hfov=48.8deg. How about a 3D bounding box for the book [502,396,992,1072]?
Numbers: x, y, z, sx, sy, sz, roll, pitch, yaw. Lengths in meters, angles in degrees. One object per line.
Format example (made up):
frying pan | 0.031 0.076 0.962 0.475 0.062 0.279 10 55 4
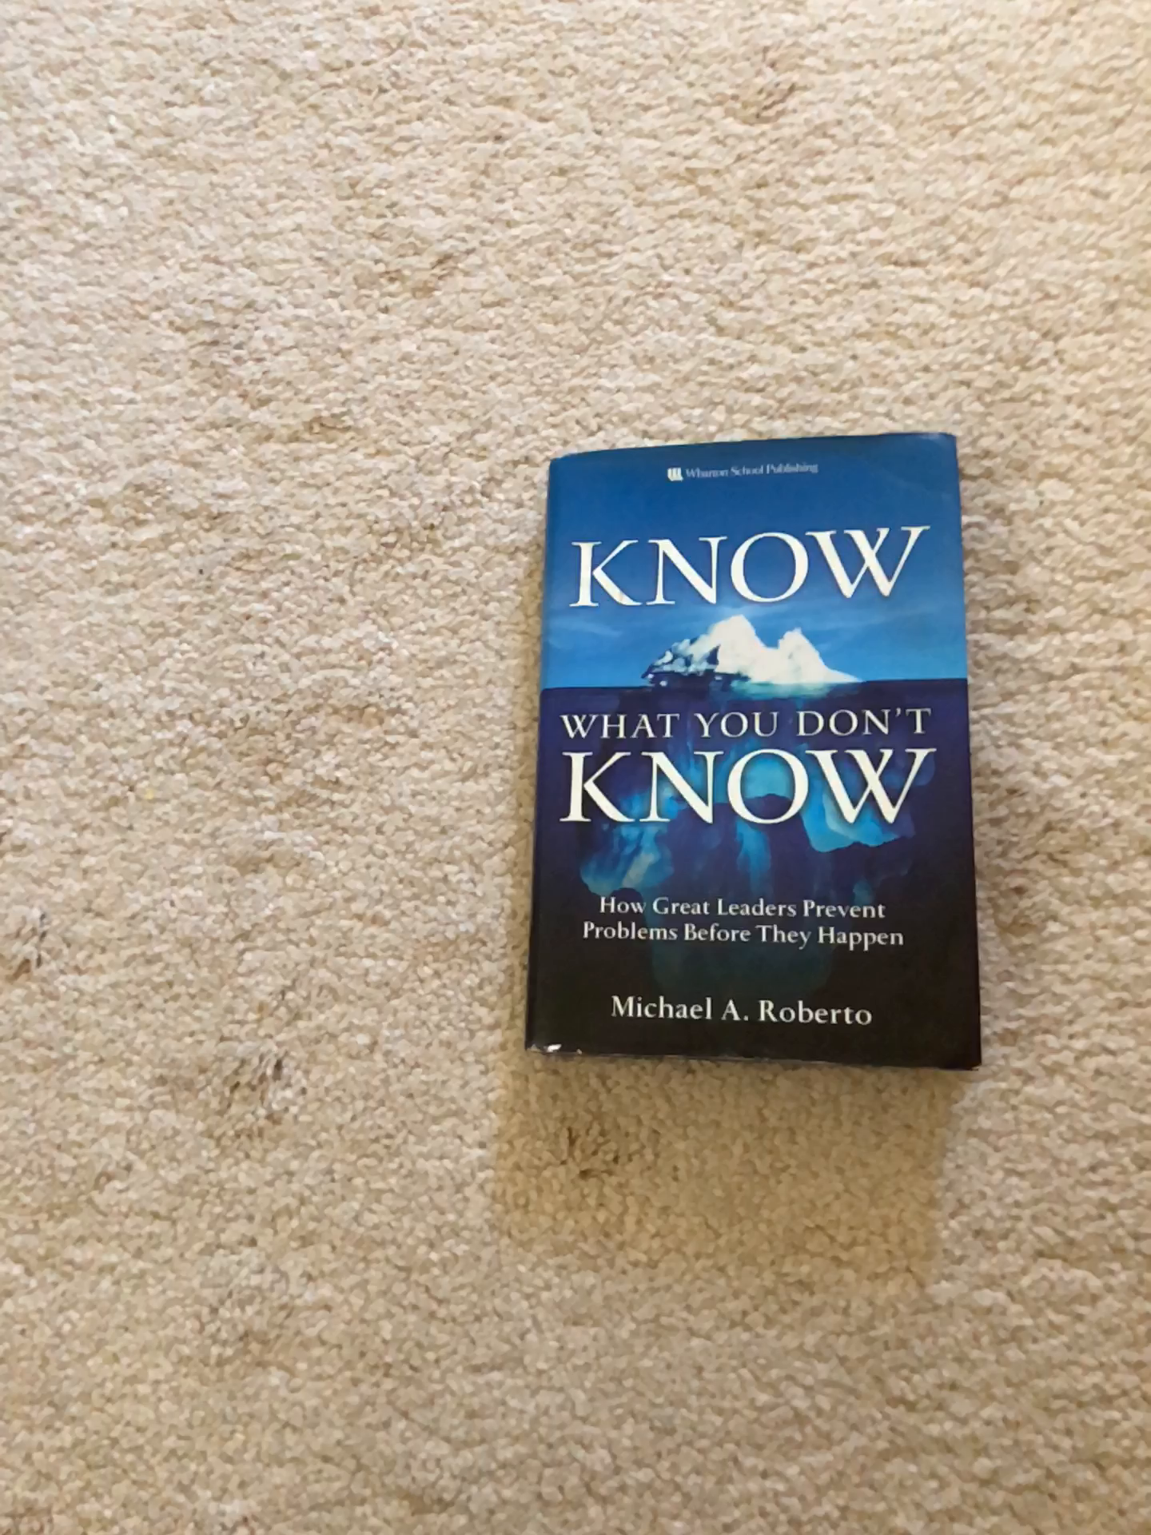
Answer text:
book | 0.060 -0.014 0.464 0.160 0.034 0.240 -1 76 10
